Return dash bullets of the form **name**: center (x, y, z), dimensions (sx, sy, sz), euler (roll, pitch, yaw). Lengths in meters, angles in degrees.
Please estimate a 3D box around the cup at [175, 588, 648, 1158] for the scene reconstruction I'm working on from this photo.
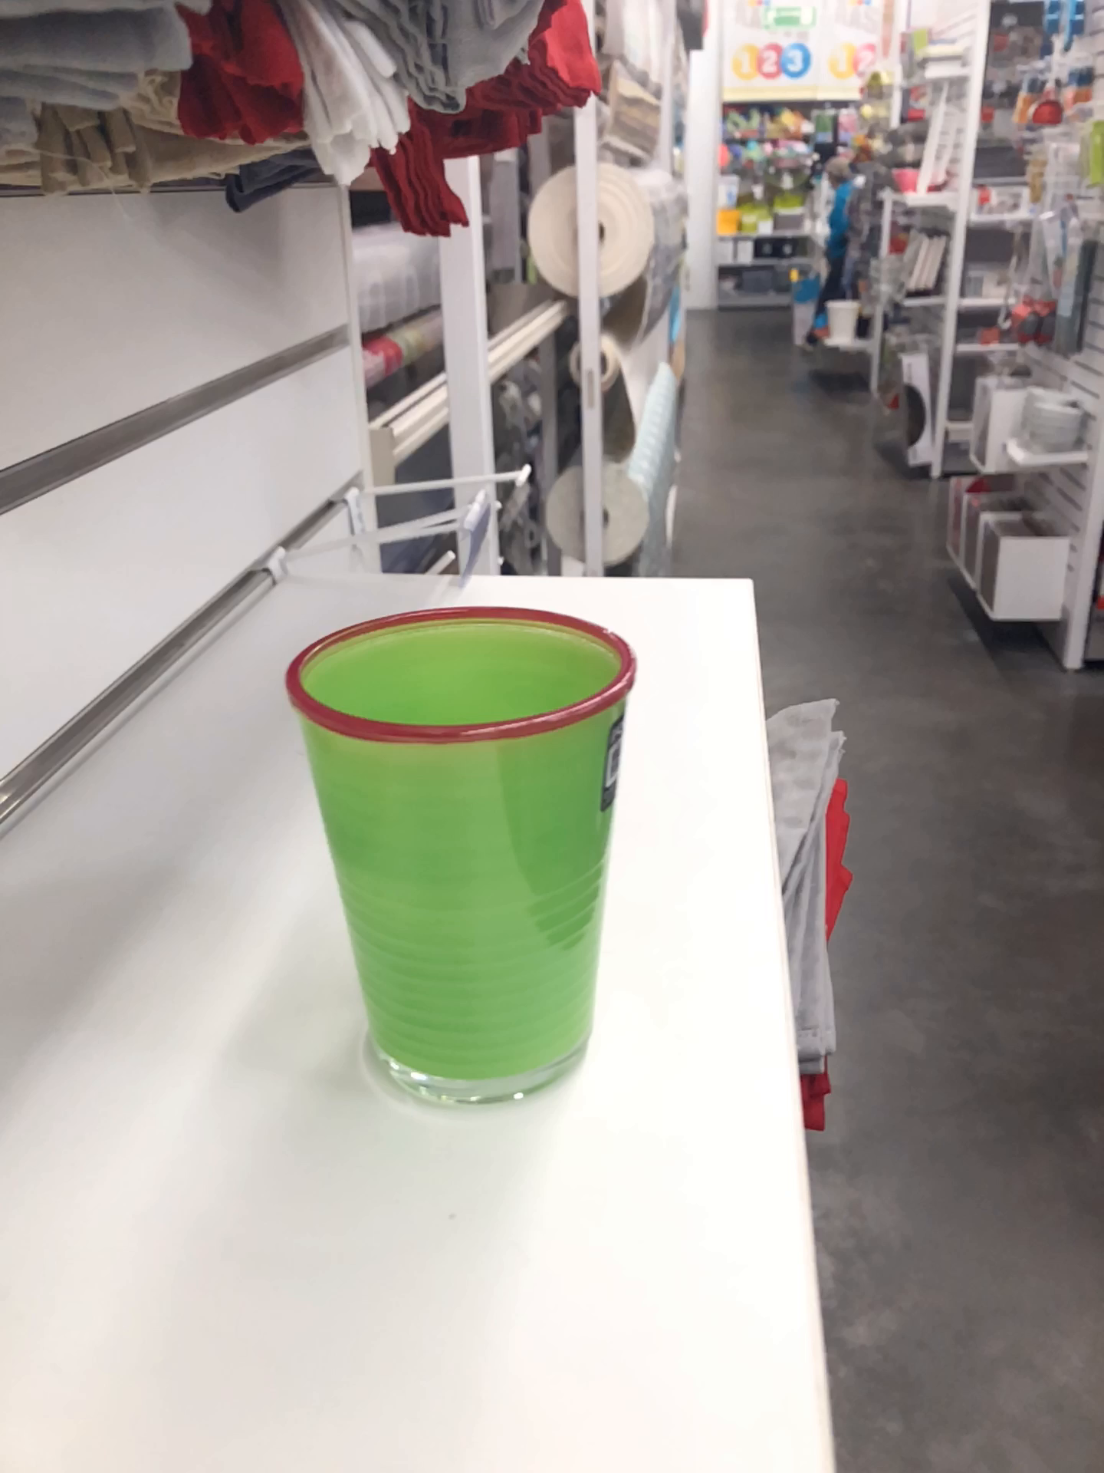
- **cup**: center (-0.024, 0.027, 0.293), dimensions (0.082, 0.098, 0.087), euler (-1, 25, 1)
